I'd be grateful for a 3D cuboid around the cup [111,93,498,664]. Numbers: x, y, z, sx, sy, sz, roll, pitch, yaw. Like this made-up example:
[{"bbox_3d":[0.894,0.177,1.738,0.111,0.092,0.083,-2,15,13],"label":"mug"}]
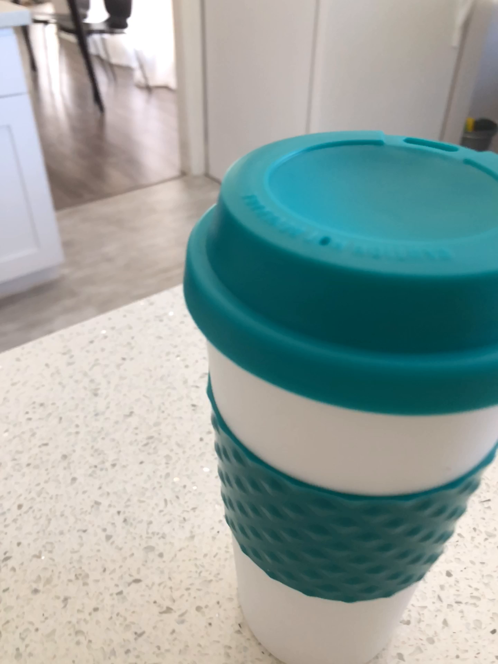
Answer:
[{"bbox_3d":[0.030,0.031,0.175,0.100,0.169,0.100,0,36,0],"label":"cup"}]
